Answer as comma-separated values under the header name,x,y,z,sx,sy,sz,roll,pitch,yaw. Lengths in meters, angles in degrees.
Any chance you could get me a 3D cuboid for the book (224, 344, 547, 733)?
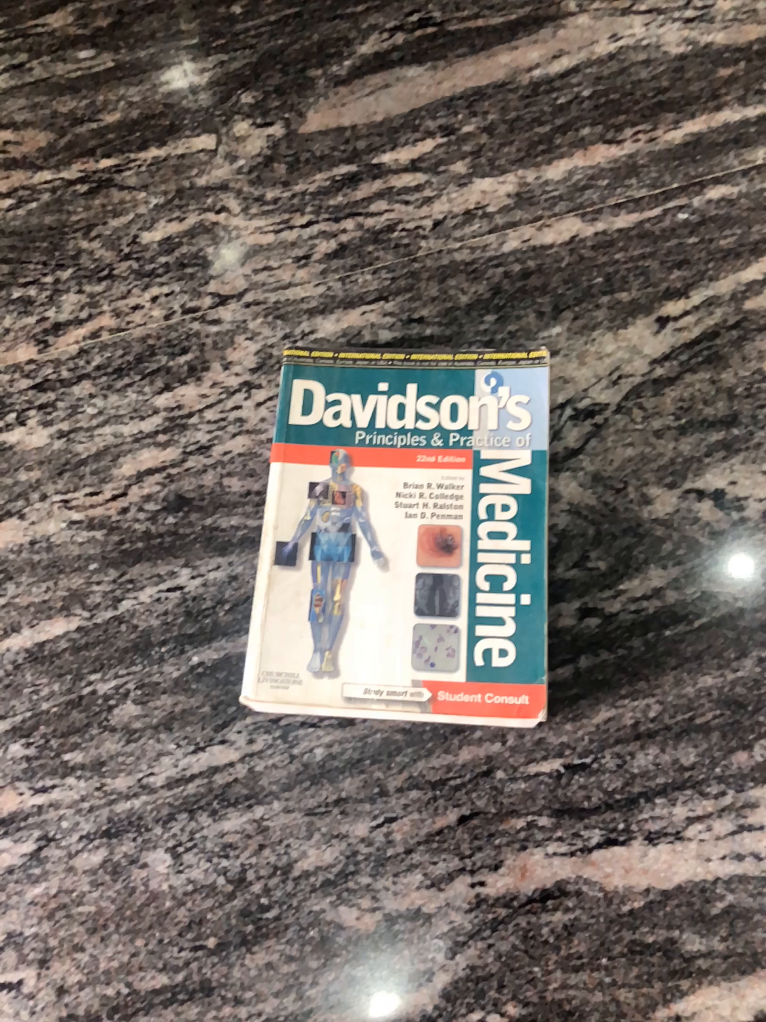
name,x,y,z,sx,sy,sz,roll,pitch,yaw
book,0.010,0.015,0.596,0.200,0.070,0.260,2,70,5
